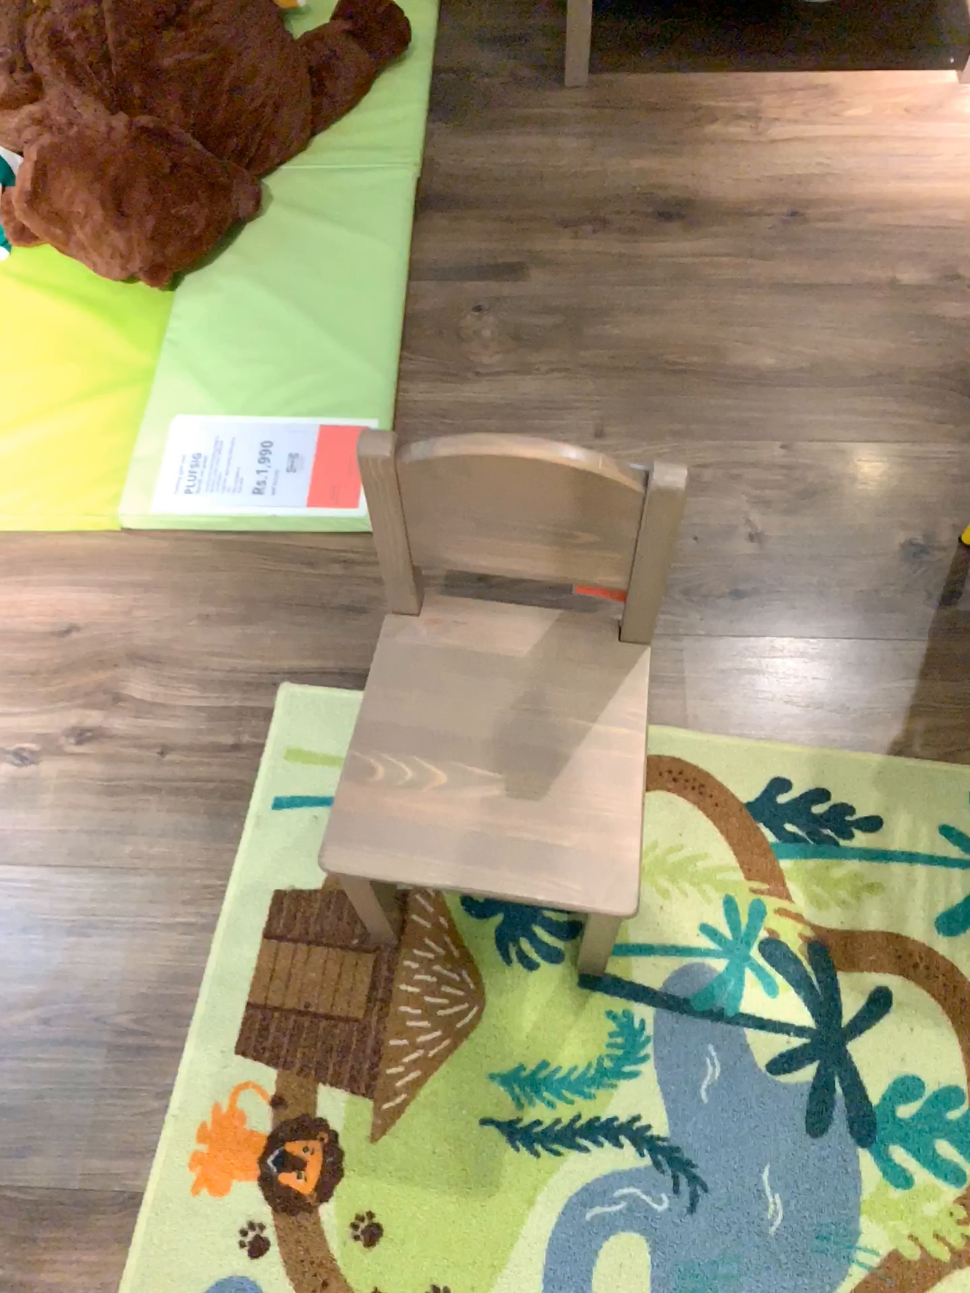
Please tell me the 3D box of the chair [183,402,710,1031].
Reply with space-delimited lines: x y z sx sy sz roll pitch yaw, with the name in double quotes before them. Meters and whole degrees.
"chair" -0.001 0.098 0.858 0.290 0.490 0.330 7 61 6
